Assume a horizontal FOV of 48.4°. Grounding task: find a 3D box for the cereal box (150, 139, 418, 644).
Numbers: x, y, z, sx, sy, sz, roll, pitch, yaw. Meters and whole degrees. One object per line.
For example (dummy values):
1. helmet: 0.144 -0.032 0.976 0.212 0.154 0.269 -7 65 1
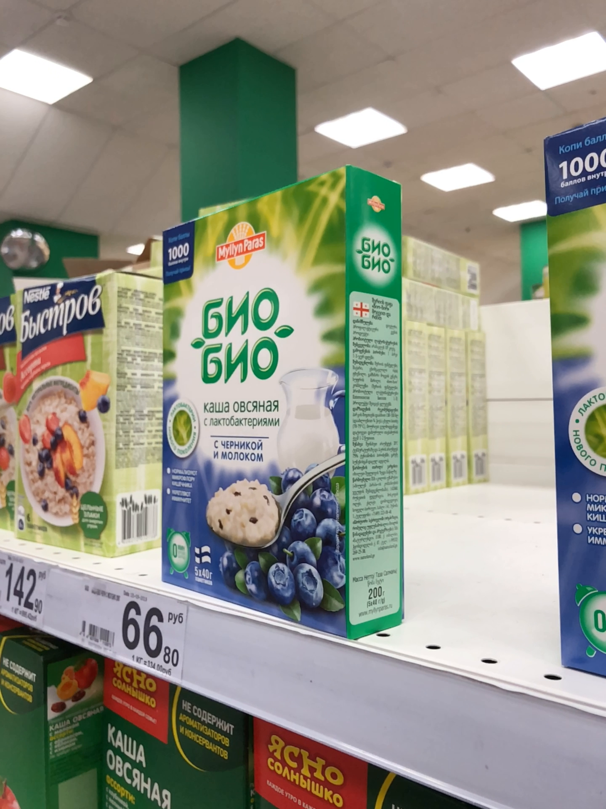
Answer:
1. cereal box: -0.018 -0.006 0.351 0.040 0.210 0.160 3 -3 -44
